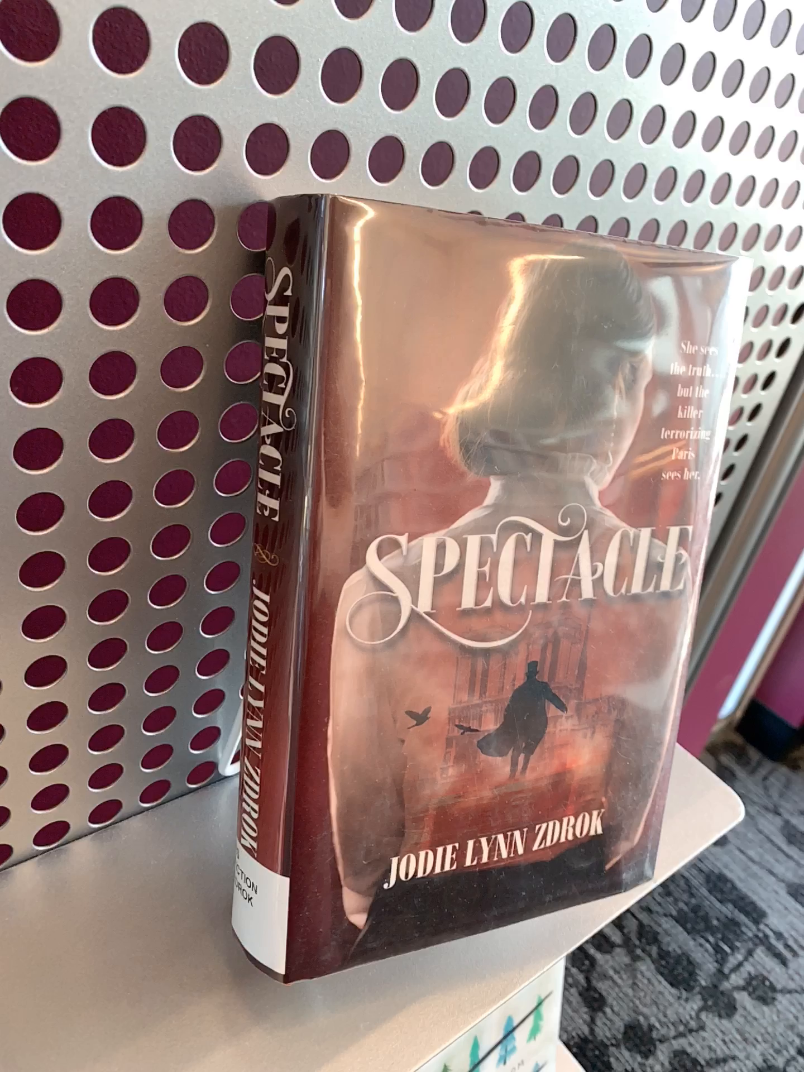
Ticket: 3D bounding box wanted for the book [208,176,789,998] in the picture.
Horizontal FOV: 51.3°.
[{"bbox_3d":[0.023,0.014,0.262,0.154,0.212,0.059,-3,16,-24],"label":"book"}]
